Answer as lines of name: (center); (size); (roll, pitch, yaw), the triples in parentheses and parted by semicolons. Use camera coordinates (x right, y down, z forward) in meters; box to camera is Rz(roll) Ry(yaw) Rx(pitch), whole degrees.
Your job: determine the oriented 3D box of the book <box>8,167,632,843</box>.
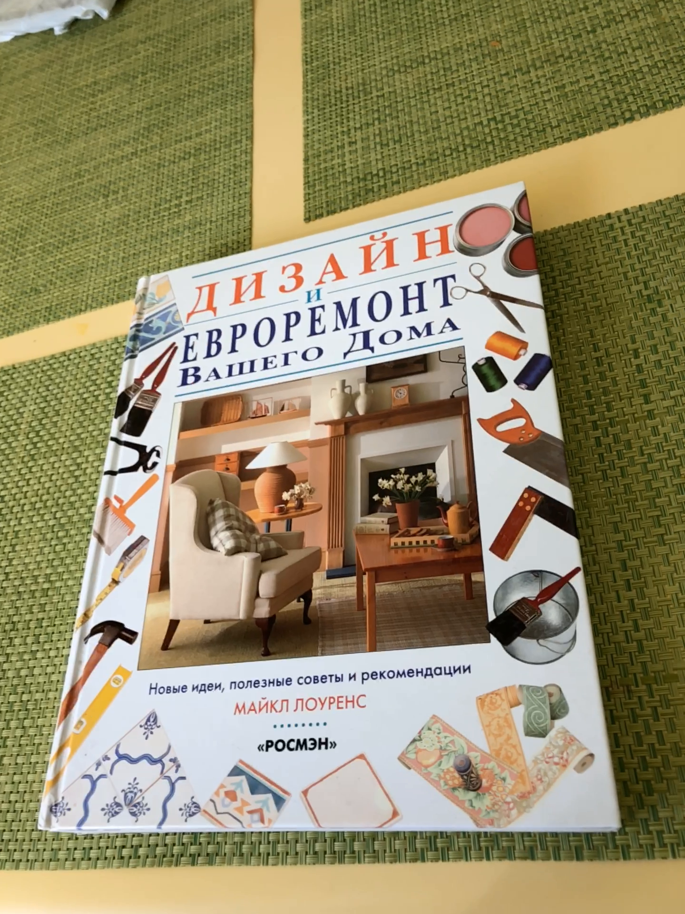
book: (-0.012, 0.010, 0.326); (0.213, 0.038, 0.277); (-9, 59, 16)
